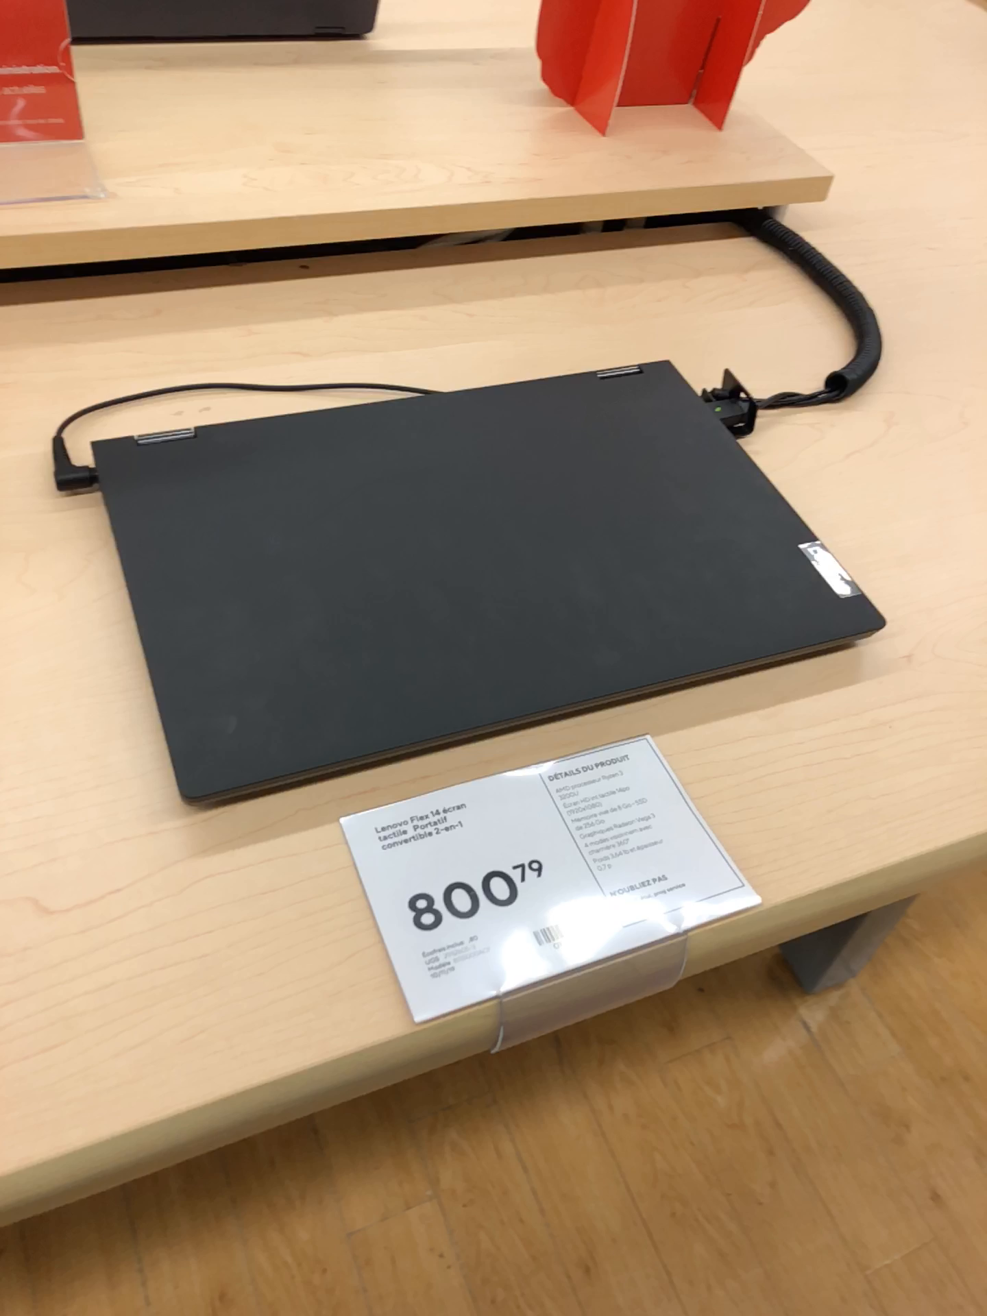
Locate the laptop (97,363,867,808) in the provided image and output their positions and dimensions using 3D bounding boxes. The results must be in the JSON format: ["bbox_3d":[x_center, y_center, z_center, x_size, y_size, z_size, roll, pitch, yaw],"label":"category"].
[{"bbox_3d":[-0.007,-0.059,0.528,0.326,0.009,0.212,-13,53,-21],"label":"laptop"}]
